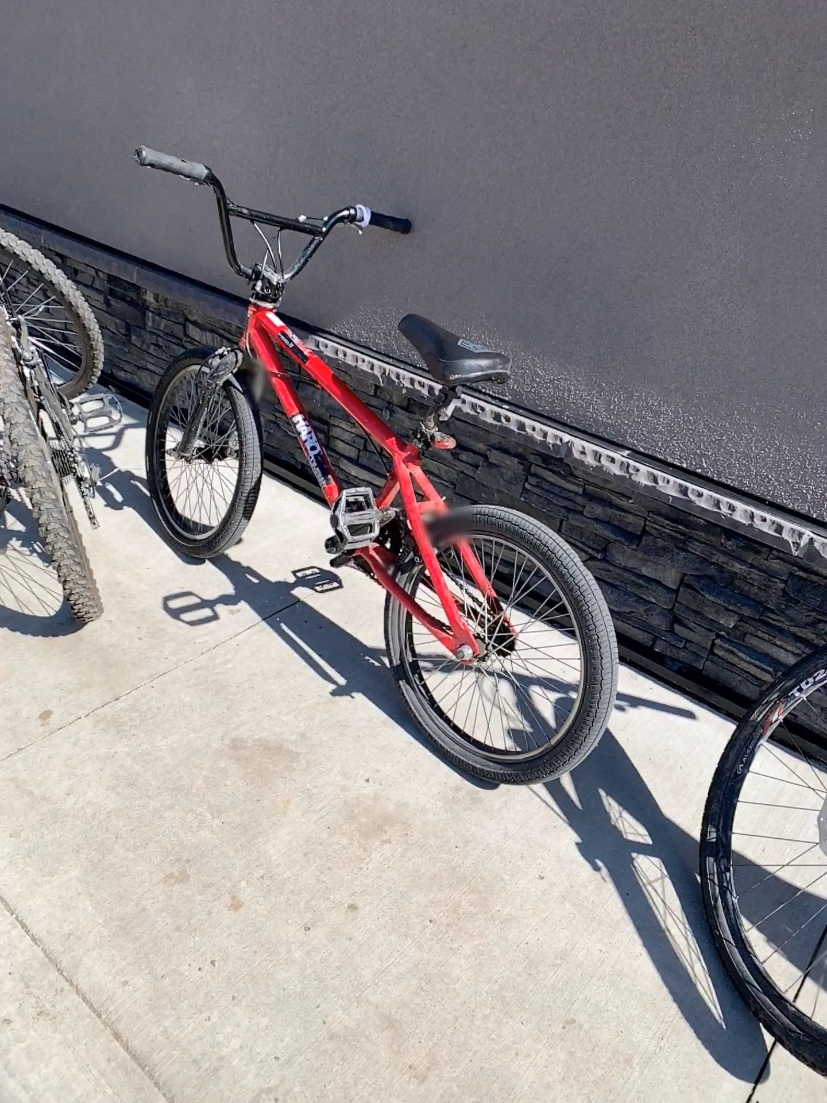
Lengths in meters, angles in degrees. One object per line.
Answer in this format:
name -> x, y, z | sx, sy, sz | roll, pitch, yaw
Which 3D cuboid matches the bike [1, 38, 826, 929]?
bike -> -0.065, -0.281, 1.625 | 0.775, 0.908, 1.315 | -21, 45, -41
